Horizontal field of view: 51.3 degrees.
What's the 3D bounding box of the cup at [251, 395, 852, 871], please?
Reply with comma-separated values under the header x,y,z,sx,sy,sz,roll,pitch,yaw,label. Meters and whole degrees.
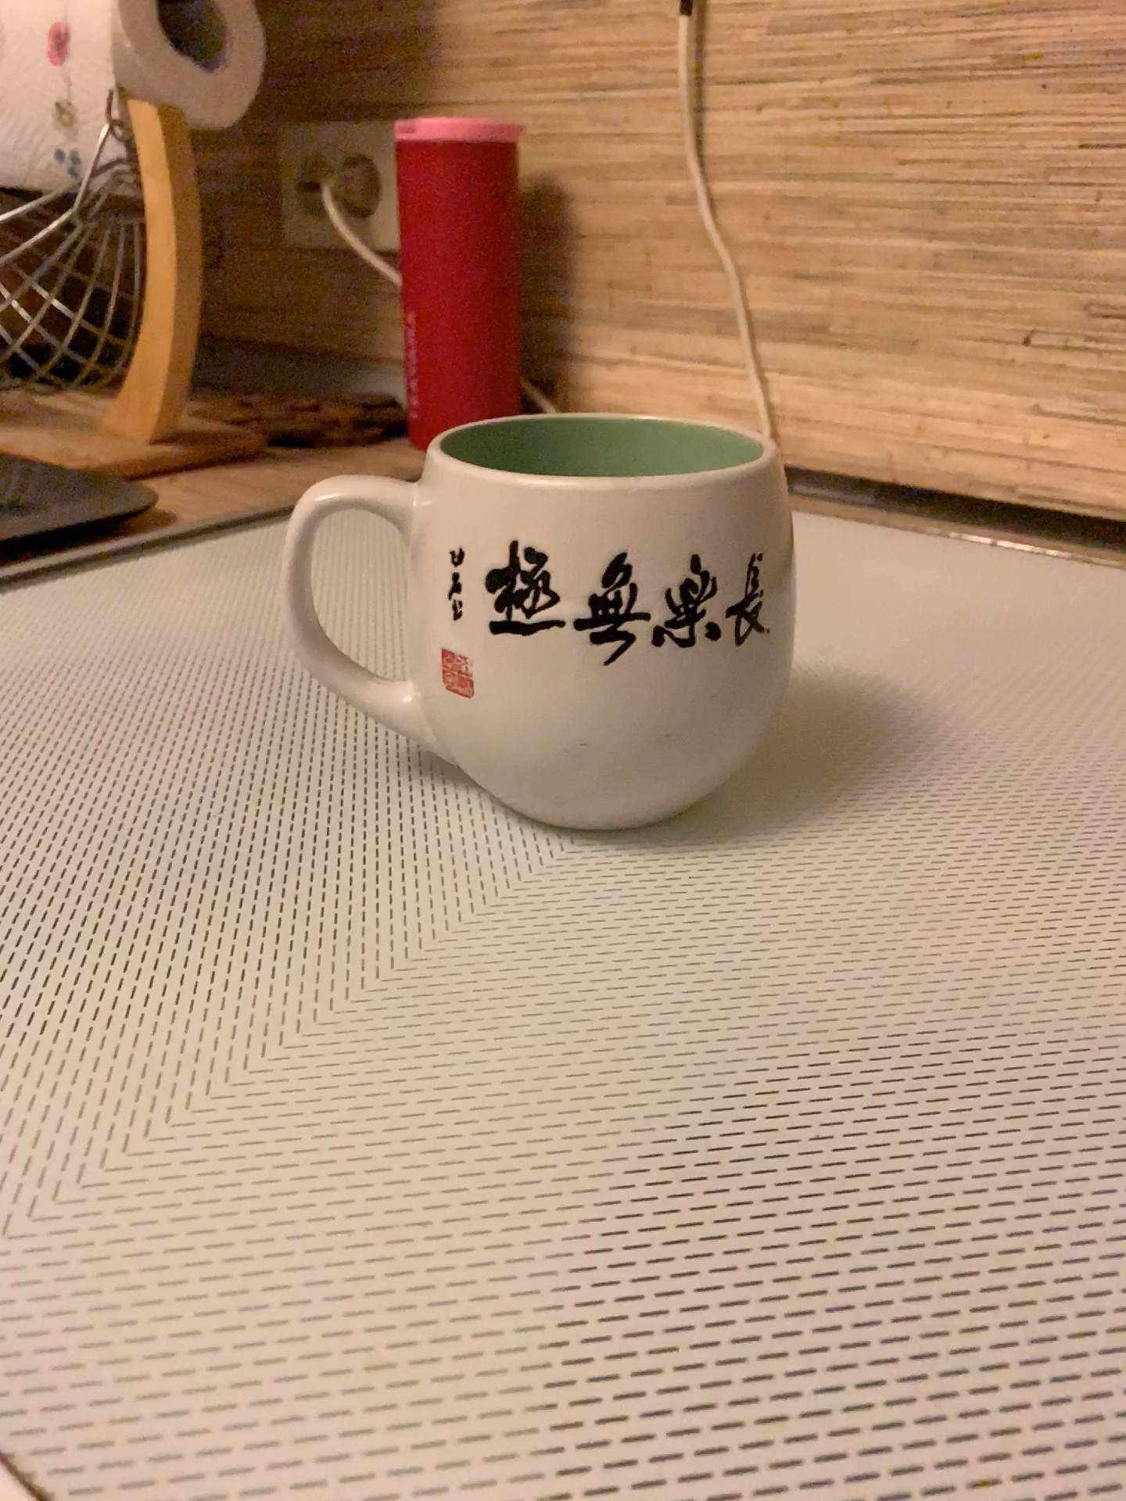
x,y,z,sx,sy,sz,roll,pitch,yaw,label
-0.009,-0.036,0.296,0.124,0.091,0.088,-3,25,-10,cup
